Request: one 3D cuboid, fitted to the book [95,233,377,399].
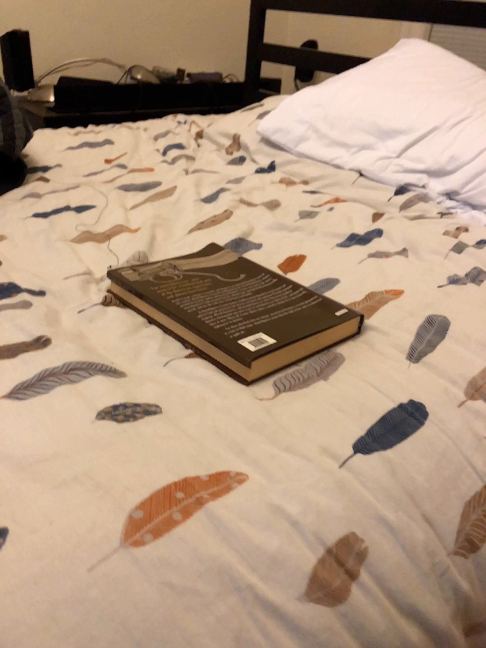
[{"bbox_3d":[-0.014,-0.027,0.562,0.181,0.030,0.241,-20,38,-37],"label":"book"}]
